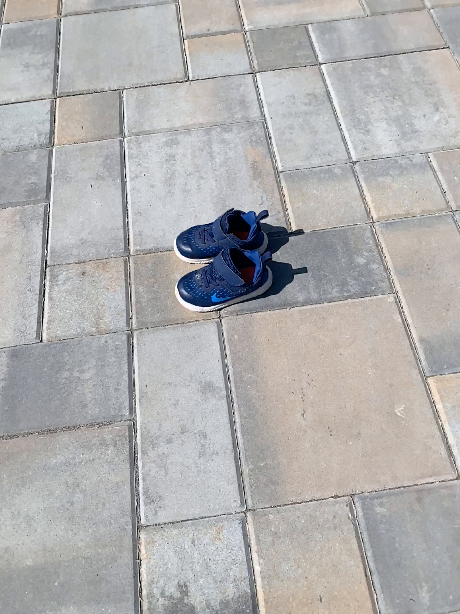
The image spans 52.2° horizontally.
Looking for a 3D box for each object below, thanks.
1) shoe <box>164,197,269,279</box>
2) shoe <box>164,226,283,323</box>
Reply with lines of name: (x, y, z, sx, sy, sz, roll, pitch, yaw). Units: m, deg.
shoe: (-0.024, -0.121, 0.835, 0.170, 0.090, 0.090, -7, 62, -1)
shoe: (-0.010, -0.052, 0.772, 0.170, 0.090, 0.090, -13, 62, -4)
